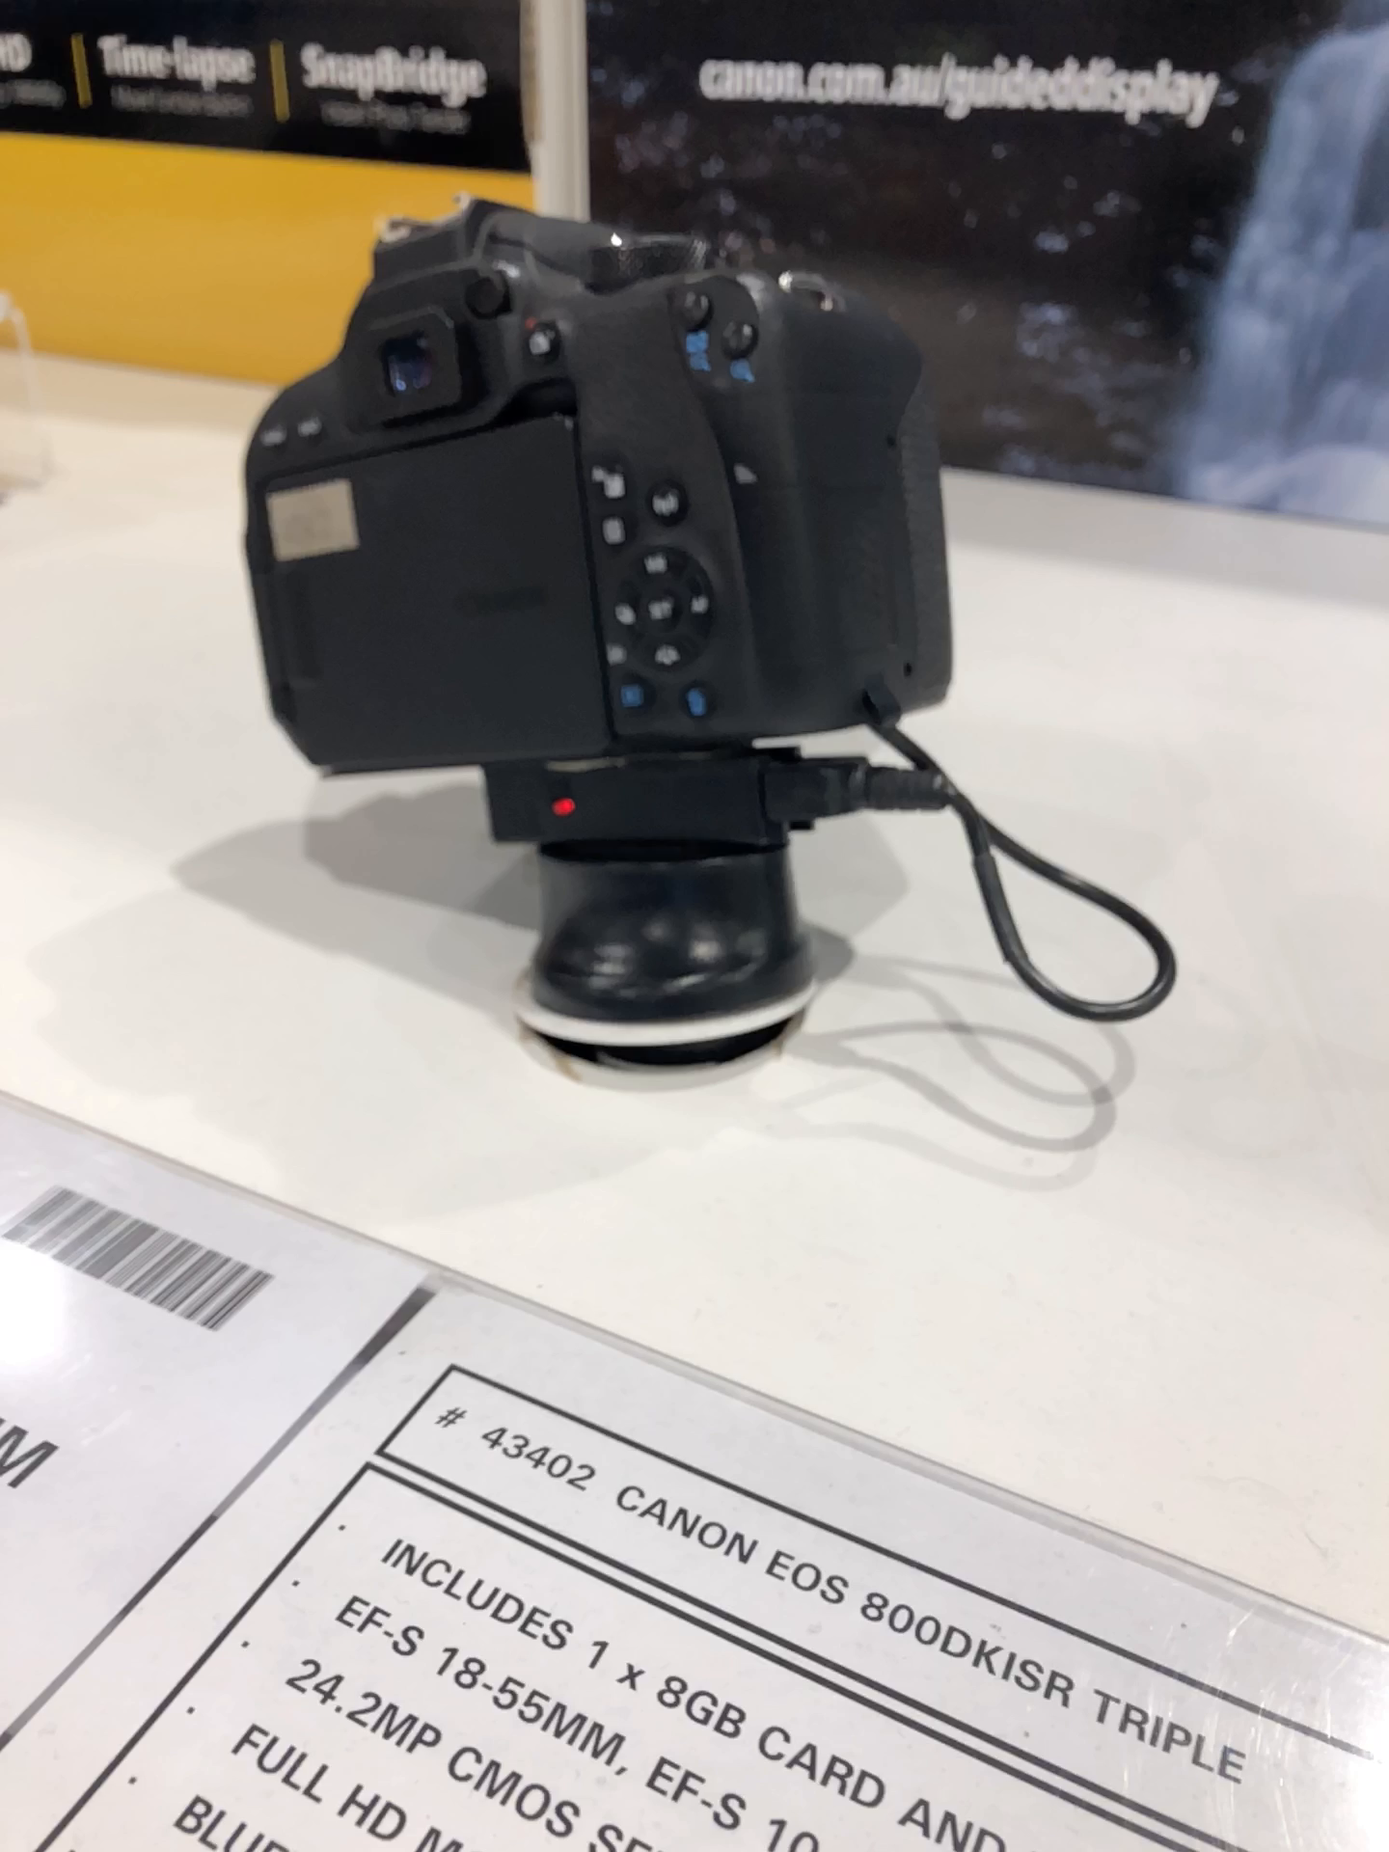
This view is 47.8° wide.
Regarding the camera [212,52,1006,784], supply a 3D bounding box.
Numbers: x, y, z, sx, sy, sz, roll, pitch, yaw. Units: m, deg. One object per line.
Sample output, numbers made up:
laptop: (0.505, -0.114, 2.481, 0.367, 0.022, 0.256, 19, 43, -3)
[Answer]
camera: (-0.017, -0.088, 0.311, 0.130, 0.105, 0.070, -1, 9, 32)
